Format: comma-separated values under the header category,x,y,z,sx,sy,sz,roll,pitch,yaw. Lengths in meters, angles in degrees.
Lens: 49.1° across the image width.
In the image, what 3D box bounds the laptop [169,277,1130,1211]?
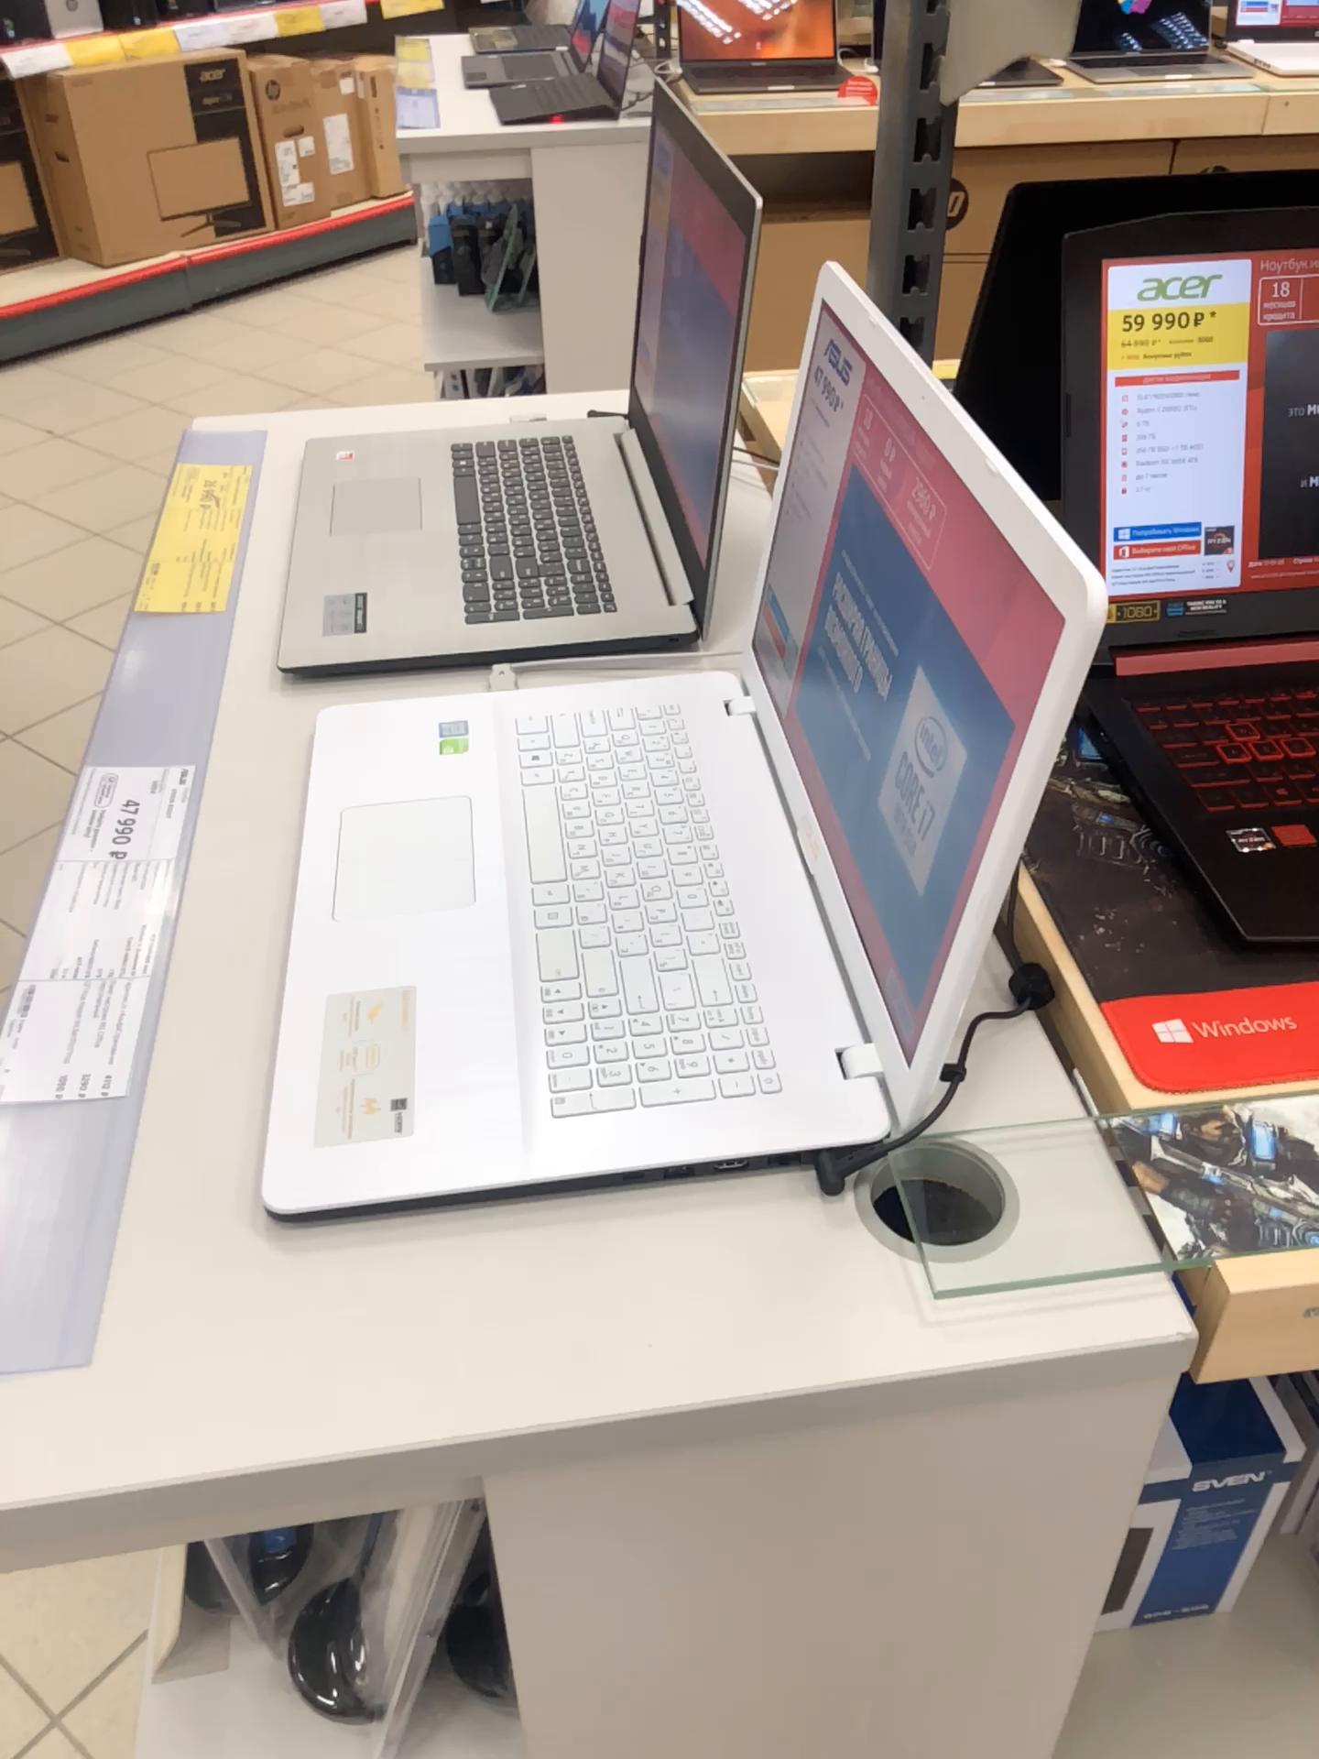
category,x,y,z,sx,sy,sz,roll,pitch,yaw
laptop,-0.014,-0.095,0.673,0.300,0.235,0.388,-5,36,-3
